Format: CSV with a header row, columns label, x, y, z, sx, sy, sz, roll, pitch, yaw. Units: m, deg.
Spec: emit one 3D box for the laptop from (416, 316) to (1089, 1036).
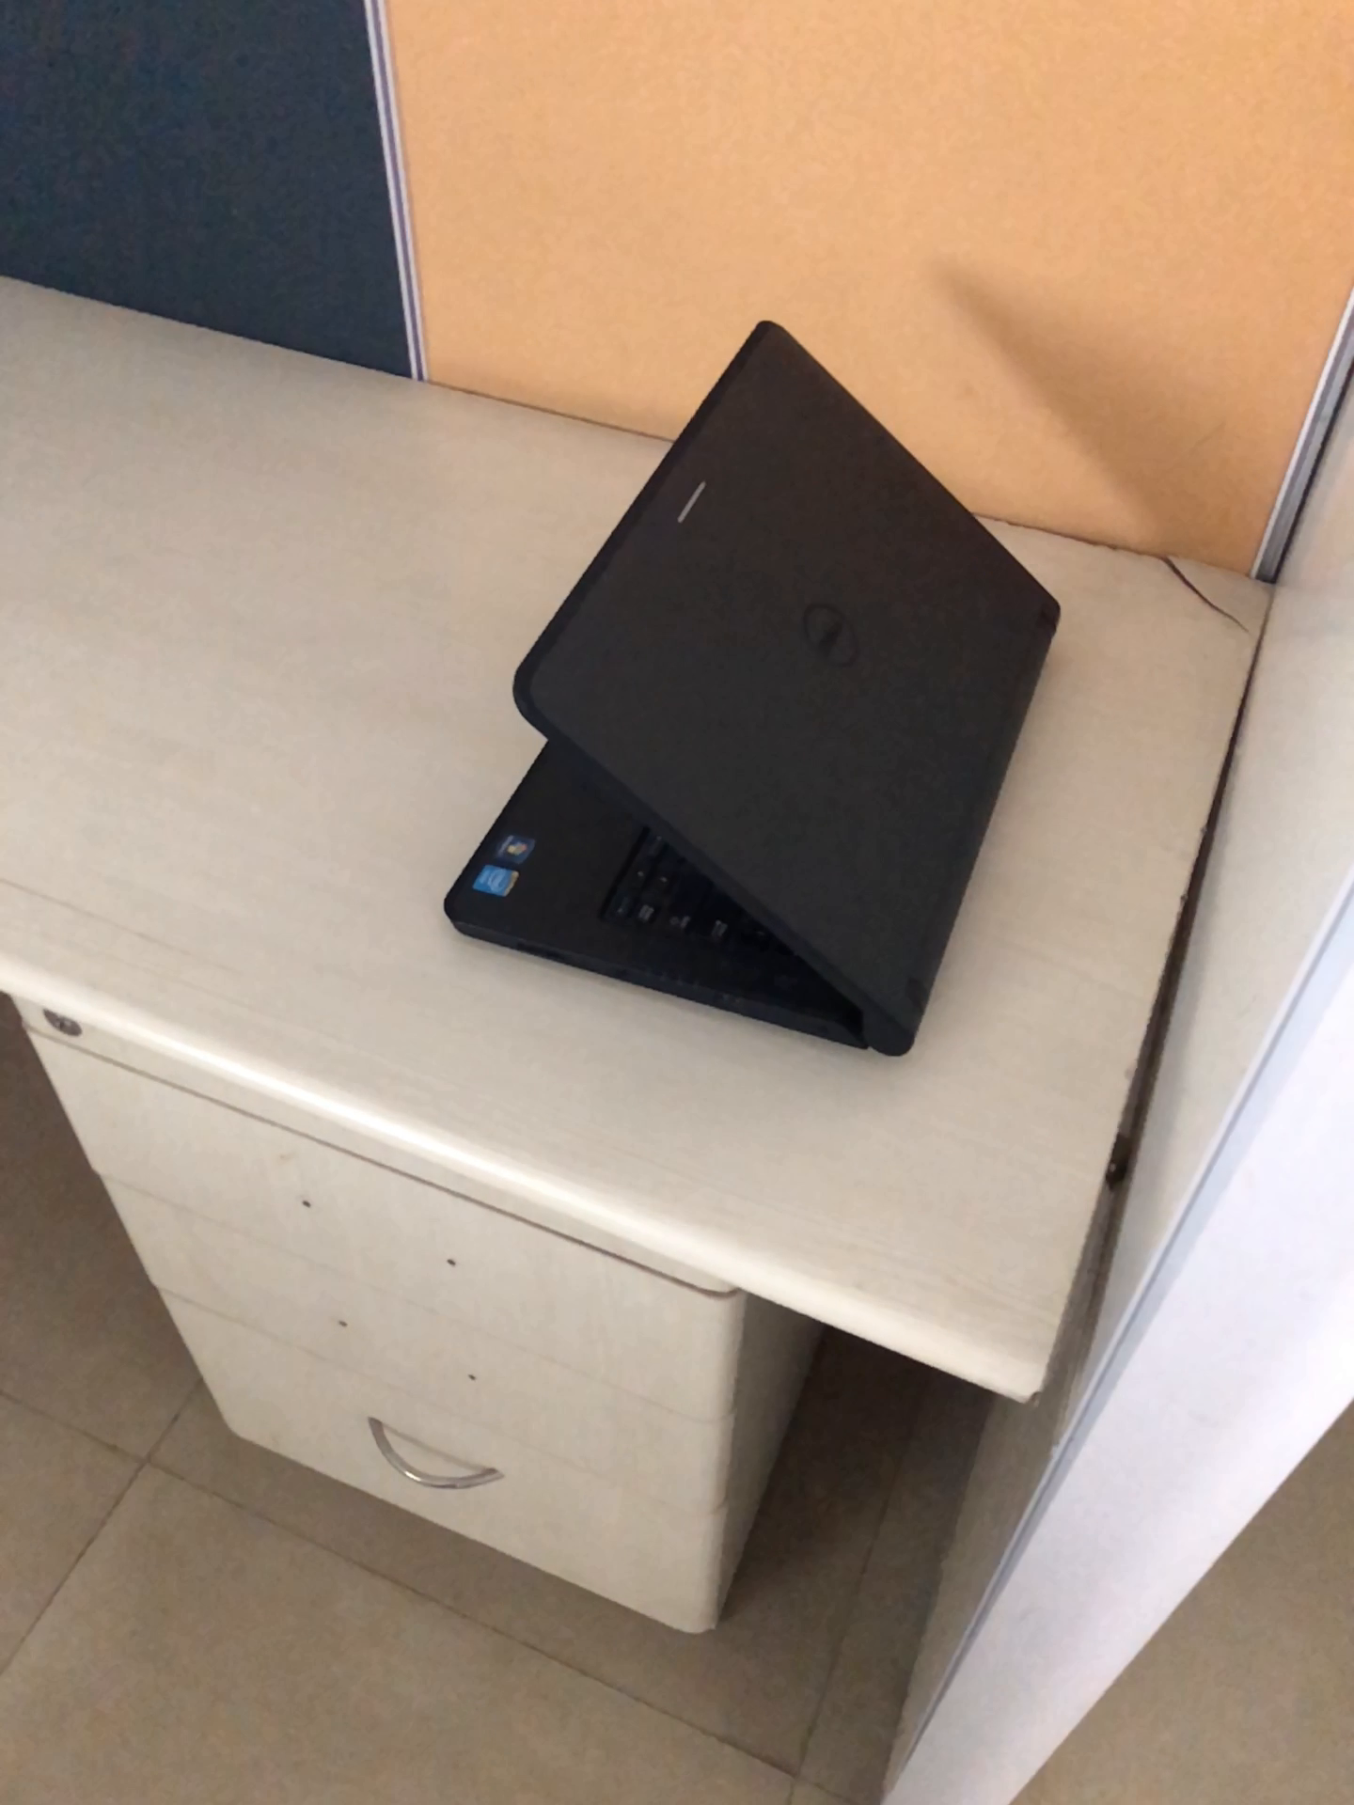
label,x,y,z,sx,sy,sz,roll,pitch,yaw
laptop,0.051,-0.130,0.741,0.215,0.154,0.320,16,49,14
